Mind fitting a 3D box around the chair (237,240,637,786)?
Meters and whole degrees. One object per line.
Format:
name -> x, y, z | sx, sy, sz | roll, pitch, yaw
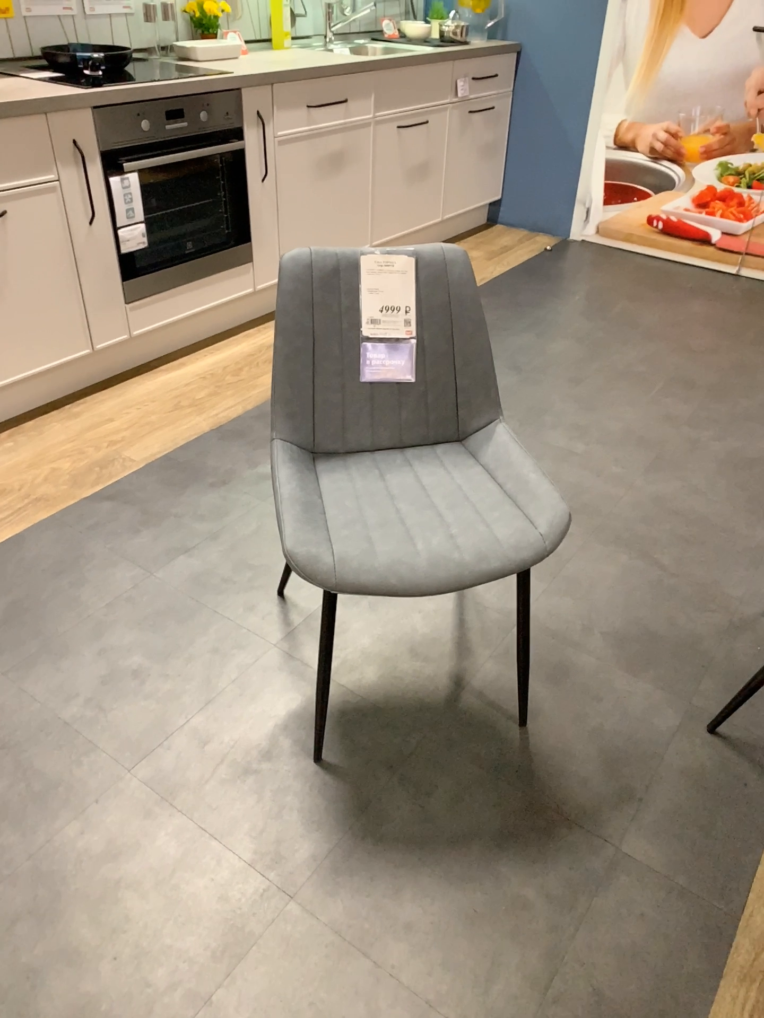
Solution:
chair -> 0.032, -0.009, 1.535 | 0.523, 0.833, 0.592 | -6, 36, -11
